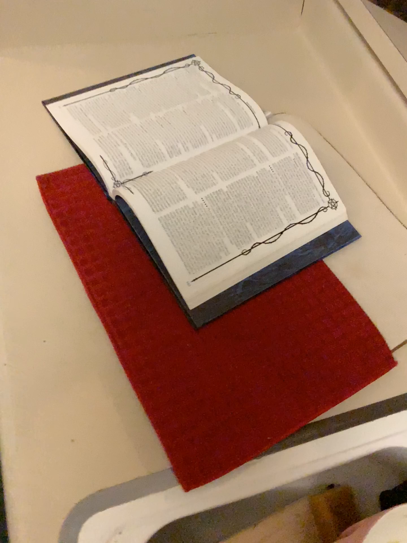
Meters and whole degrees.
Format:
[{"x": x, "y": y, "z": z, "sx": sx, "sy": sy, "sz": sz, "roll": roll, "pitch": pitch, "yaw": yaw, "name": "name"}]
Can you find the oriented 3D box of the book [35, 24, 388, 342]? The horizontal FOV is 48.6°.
[{"x": -0.001, "y": -0.164, "z": 0.656, "sx": 0.290, "sy": 0.060, "sz": 0.450, "roll": -30, "pitch": 70, "yaw": -21, "name": "book"}]
